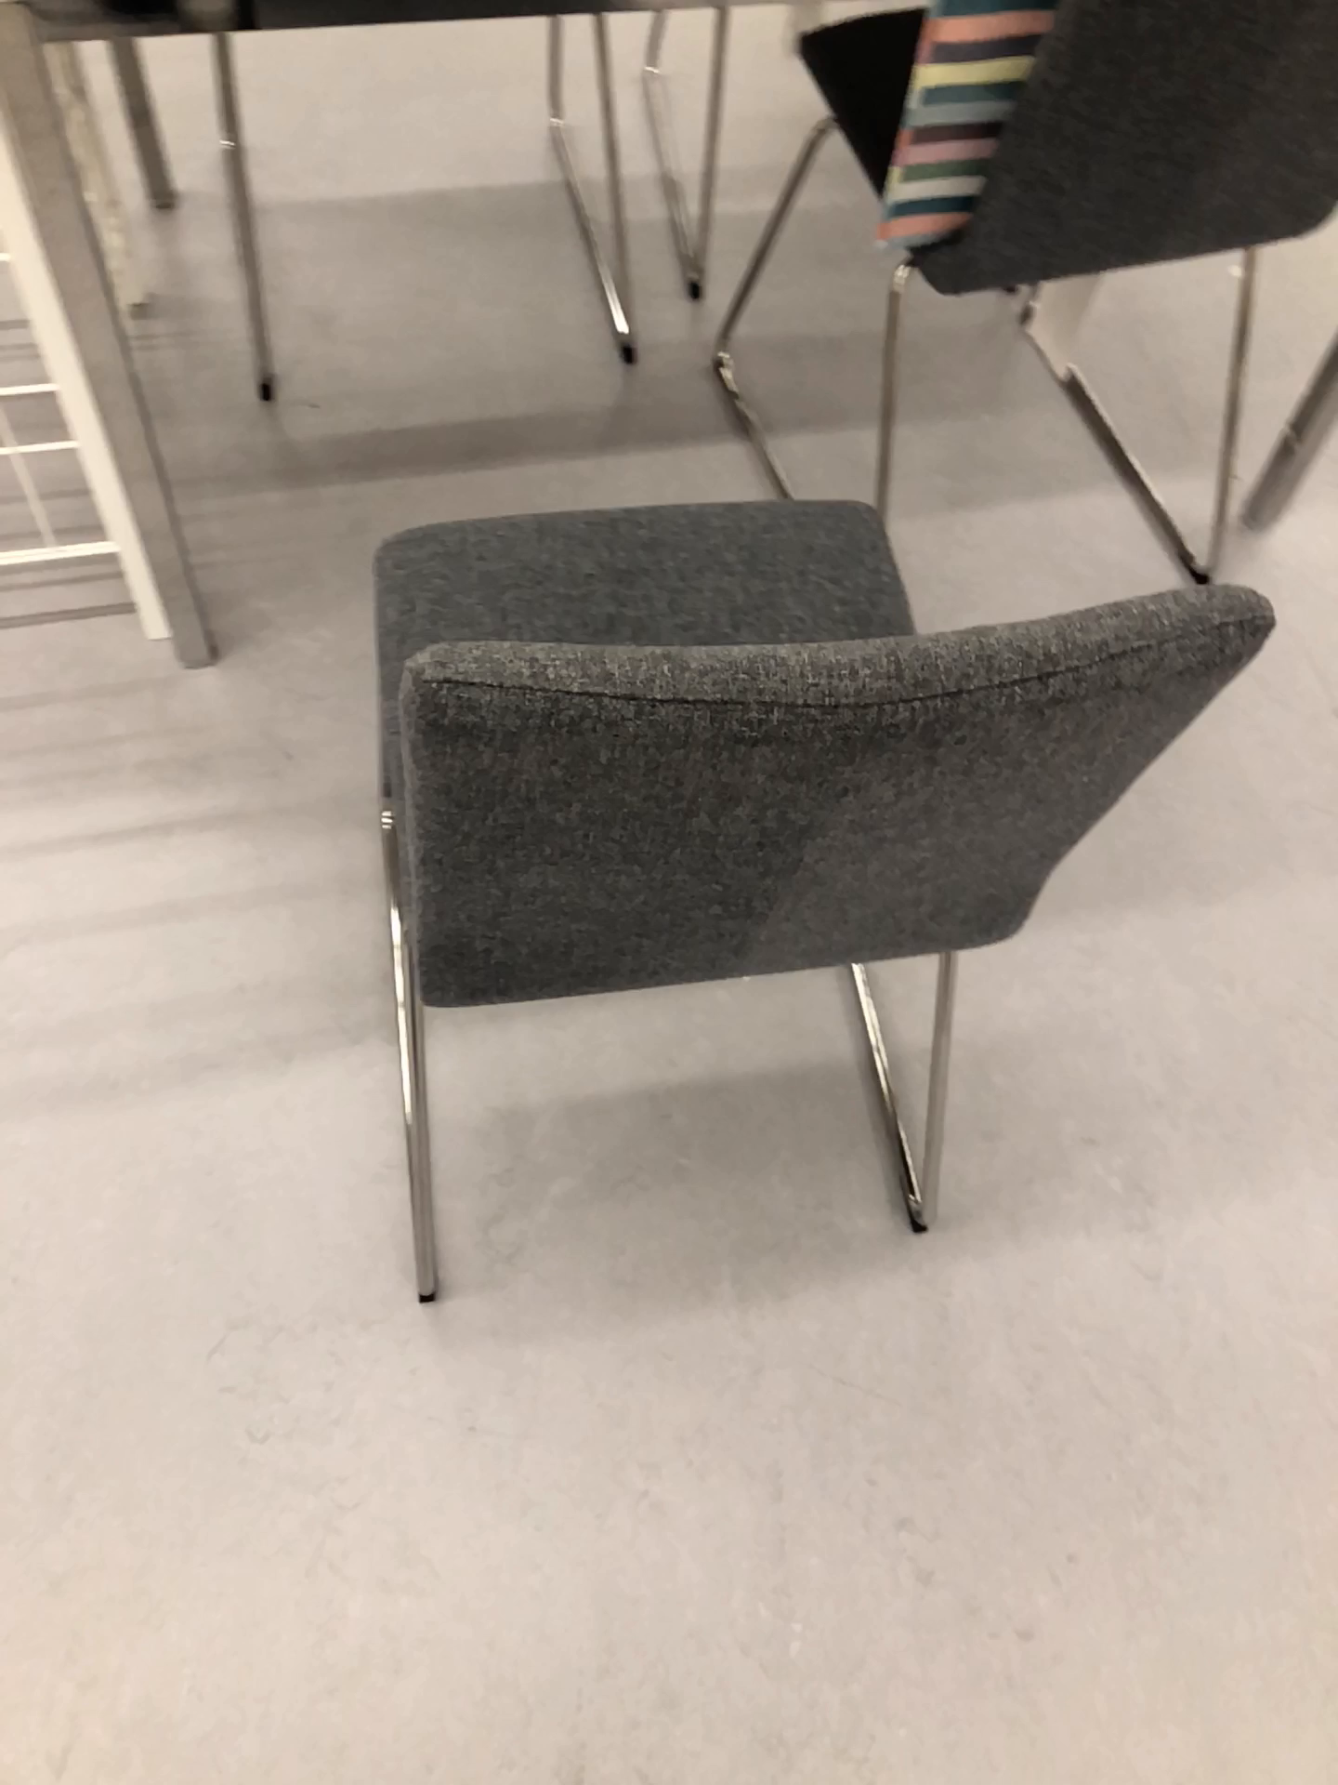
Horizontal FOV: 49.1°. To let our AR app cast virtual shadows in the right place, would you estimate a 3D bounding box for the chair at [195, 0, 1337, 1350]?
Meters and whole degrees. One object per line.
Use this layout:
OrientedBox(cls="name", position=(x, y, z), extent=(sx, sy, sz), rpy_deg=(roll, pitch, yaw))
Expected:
OrientedBox(cls="chair", position=(-0.003, -0.095, 1.088), extent=(0.510, 0.836, 0.593), rpy_deg=(-6, 61, -8))
